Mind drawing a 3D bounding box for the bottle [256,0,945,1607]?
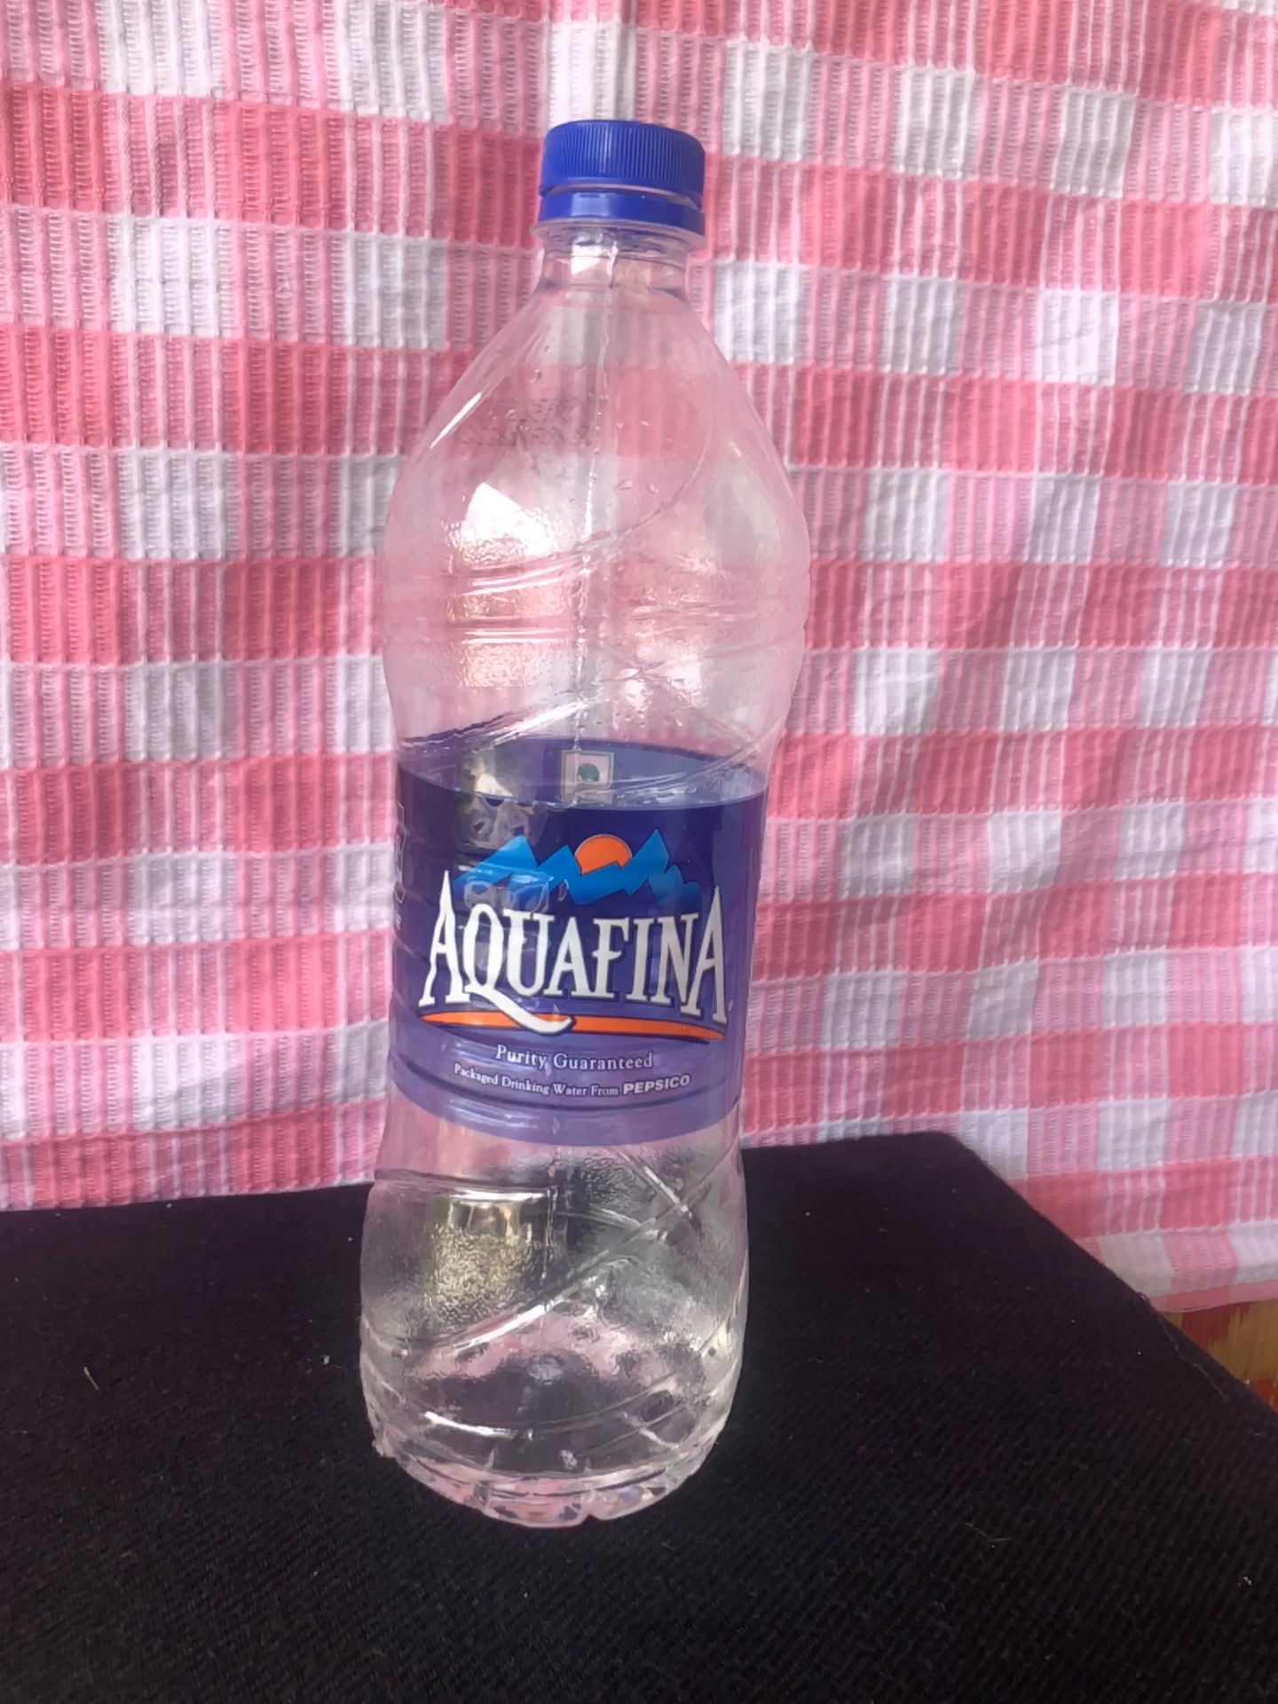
[{"bbox_3d":[-0.012,0.001,0.264,0.090,0.259,0.070,6,16,3],"label":"bottle"}]
